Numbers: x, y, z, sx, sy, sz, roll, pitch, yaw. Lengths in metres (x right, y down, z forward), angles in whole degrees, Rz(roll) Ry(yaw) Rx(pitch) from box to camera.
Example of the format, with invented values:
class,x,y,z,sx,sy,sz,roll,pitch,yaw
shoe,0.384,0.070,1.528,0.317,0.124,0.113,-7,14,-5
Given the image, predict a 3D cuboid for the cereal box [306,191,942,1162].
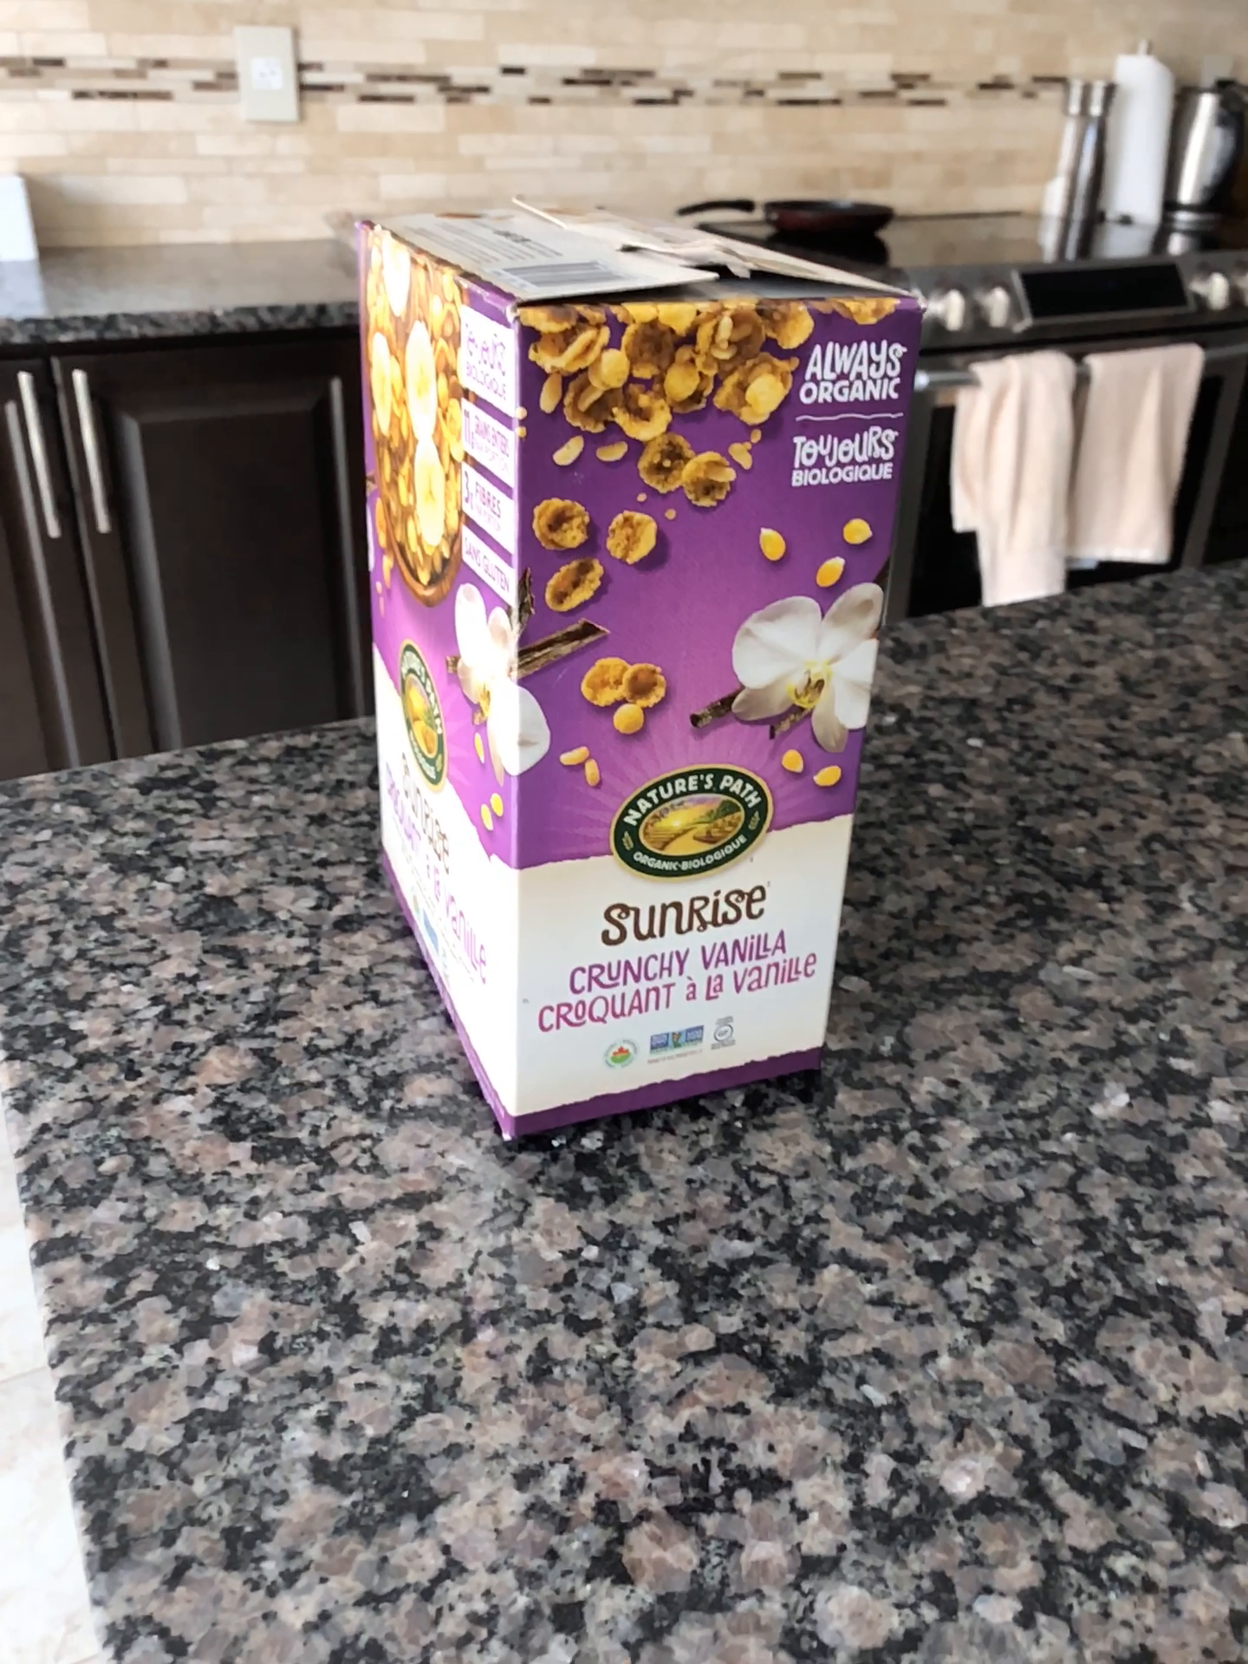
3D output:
class,x,y,z,sx,sy,sz,roll,pitch,yaw
cereal box,-0.015,-0.060,0.418,0.110,0.229,0.181,-9,30,-19
